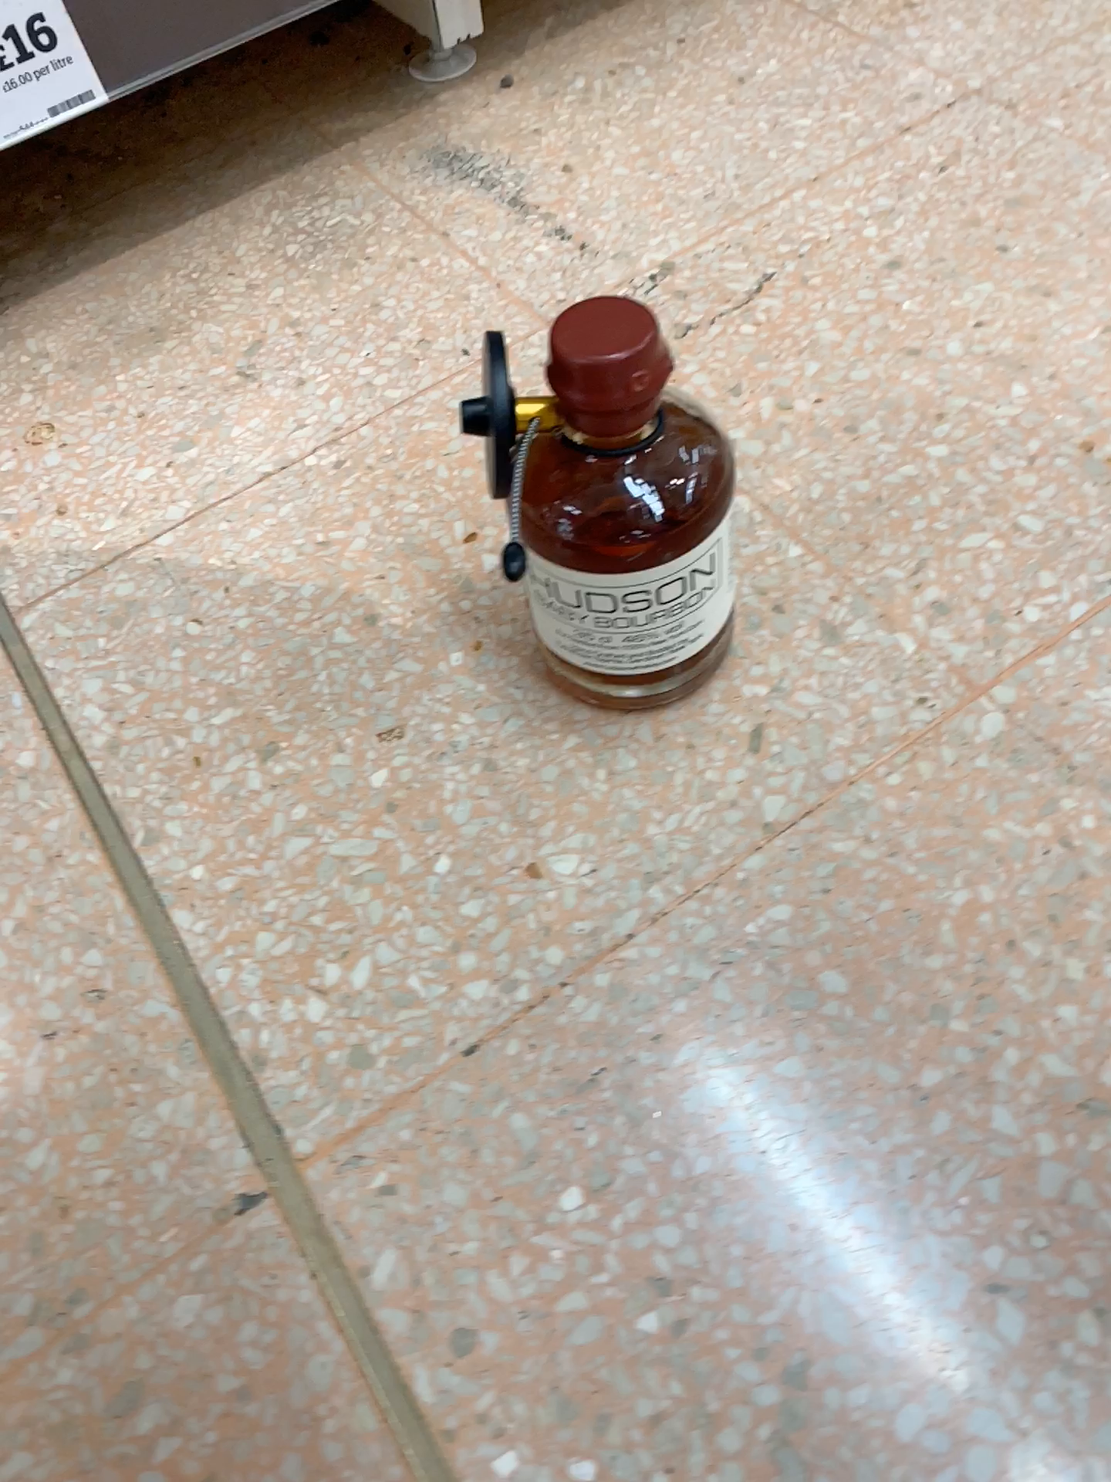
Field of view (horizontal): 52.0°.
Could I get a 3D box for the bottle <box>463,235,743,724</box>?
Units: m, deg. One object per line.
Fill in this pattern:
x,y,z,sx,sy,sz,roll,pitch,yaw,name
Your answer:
0.020,-0.079,0.383,0.075,0.142,0.073,-4,56,6,bottle
